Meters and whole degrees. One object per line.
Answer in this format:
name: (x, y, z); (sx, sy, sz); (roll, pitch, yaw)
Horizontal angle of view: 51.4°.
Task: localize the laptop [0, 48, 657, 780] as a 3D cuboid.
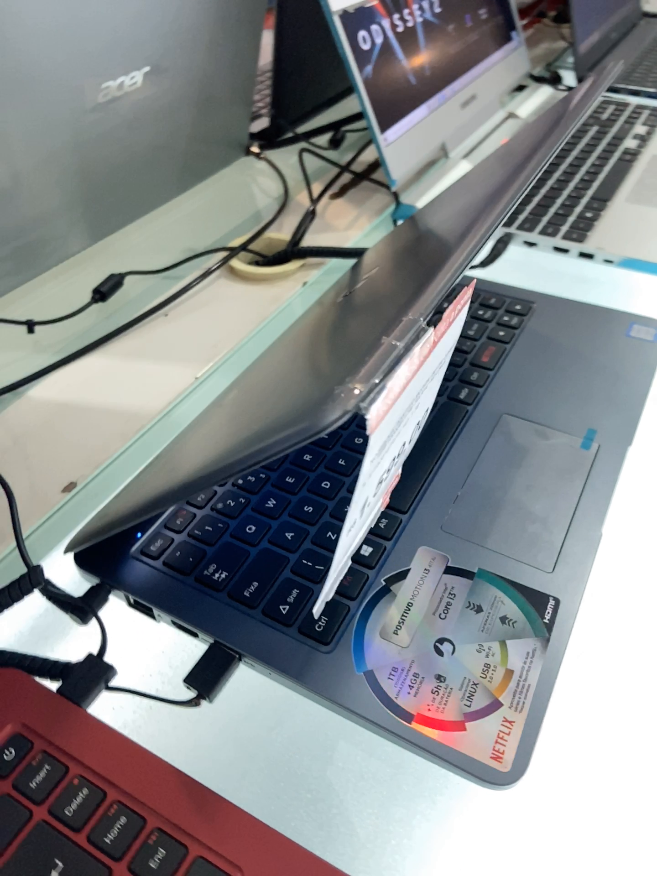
laptop: (0.048, -0.061, 0.331); (0.211, 0.145, 0.318); (19, 46, 22)
